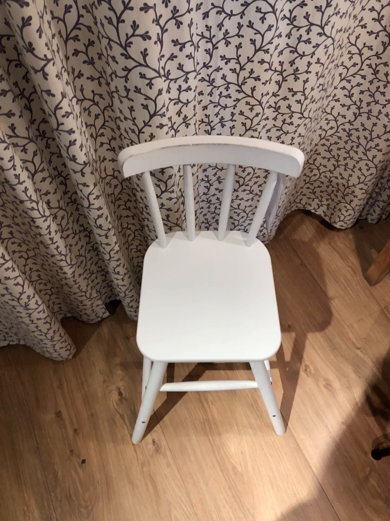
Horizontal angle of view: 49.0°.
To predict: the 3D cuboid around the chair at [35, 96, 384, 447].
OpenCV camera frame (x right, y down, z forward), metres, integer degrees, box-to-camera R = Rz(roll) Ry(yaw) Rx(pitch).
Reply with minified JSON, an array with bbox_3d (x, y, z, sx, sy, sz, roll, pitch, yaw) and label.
[{"bbox_3d":[0.010,0.098,0.934,0.420,0.707,0.452,-4,59,-1],"label":"chair"}]
